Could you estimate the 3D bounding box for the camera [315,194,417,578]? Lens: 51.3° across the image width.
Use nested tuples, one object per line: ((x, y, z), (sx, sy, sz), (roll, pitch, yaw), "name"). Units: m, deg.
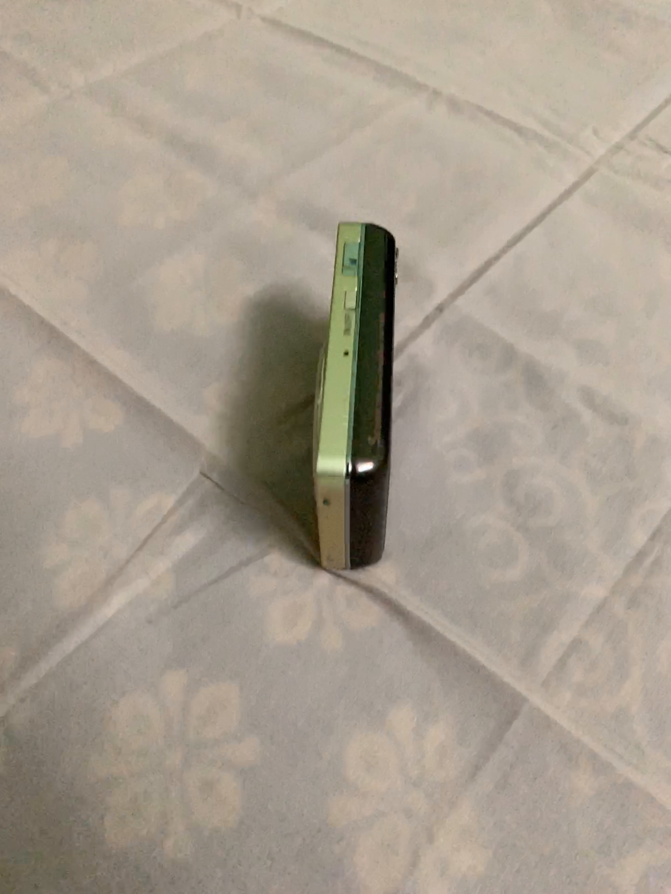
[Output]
((0.009, -0.018, 0.195), (0.021, 0.060, 0.089), (4, 54, 2), "camera")
